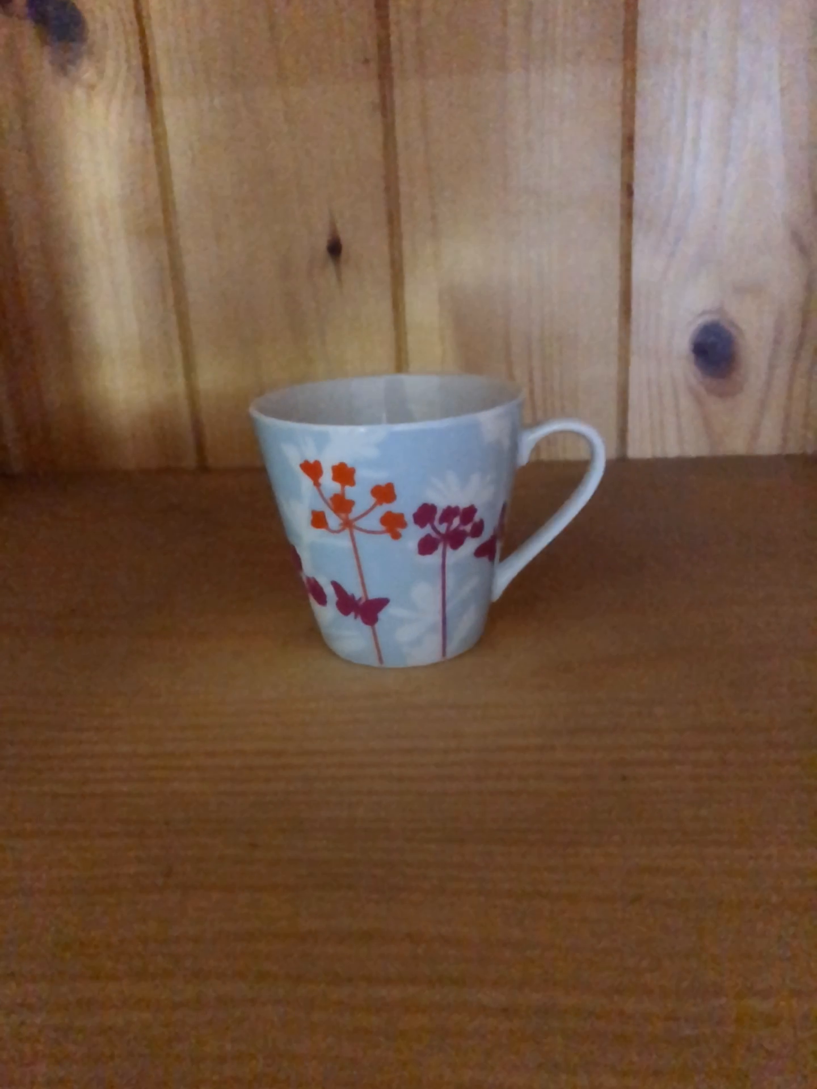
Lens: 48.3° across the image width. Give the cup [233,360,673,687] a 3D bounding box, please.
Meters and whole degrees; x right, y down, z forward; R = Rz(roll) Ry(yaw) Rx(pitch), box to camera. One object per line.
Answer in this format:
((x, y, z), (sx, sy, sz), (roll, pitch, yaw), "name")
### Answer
((0.008, -0.009, 0.206), (0.080, 0.050, 0.070), (-4, 19, -1), "cup")
